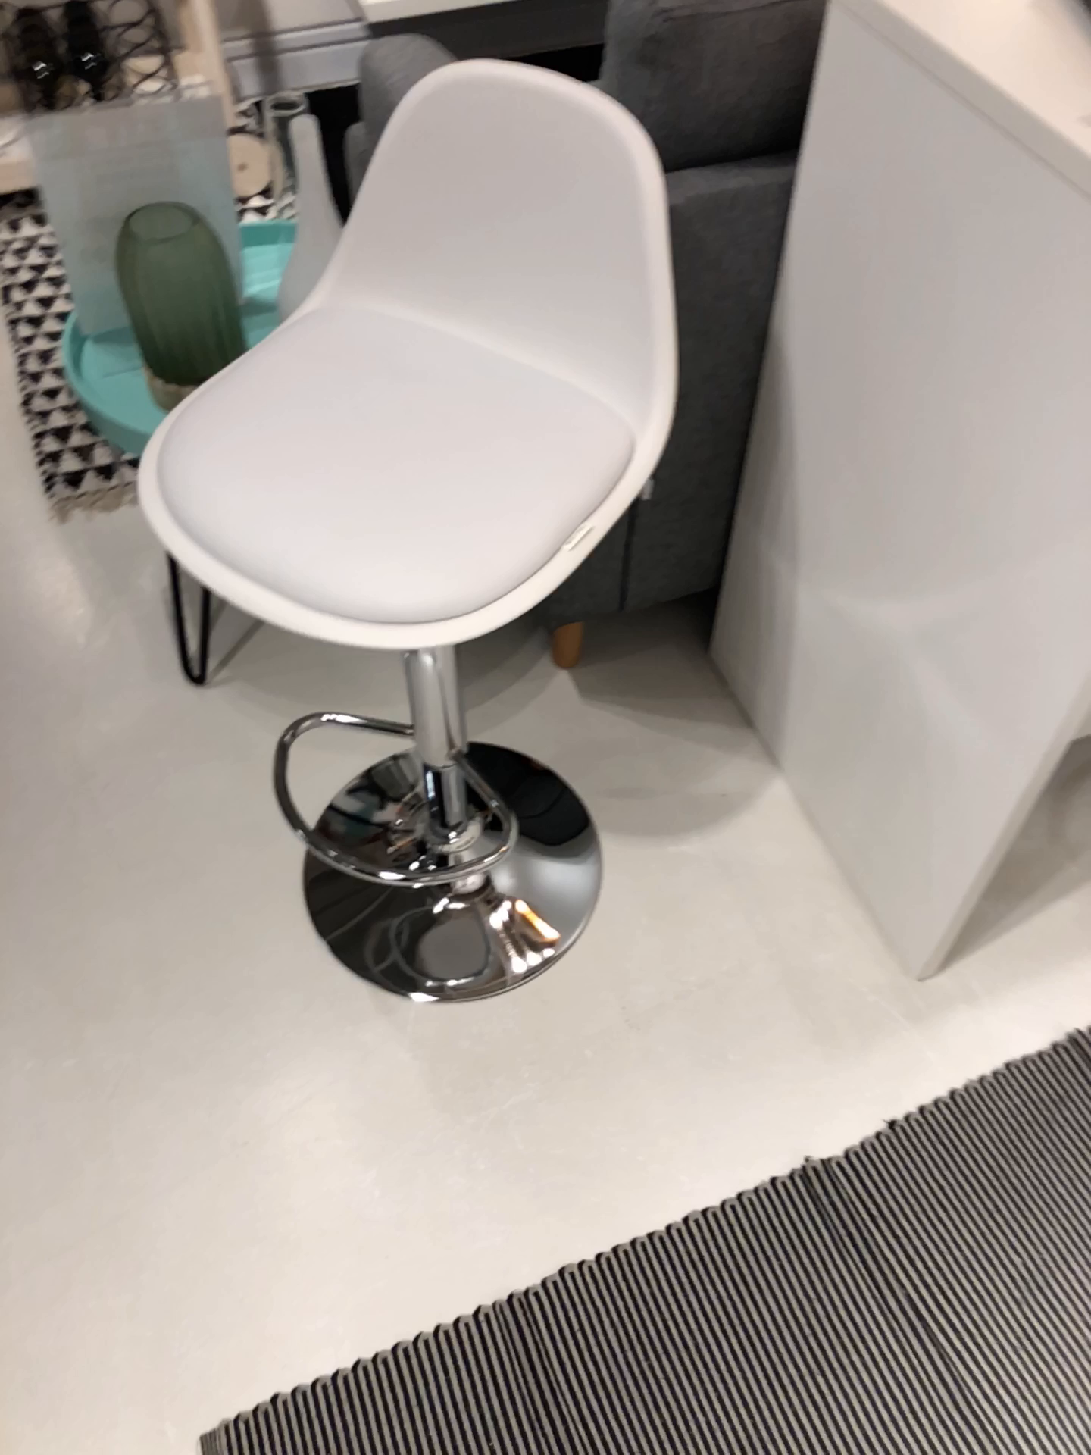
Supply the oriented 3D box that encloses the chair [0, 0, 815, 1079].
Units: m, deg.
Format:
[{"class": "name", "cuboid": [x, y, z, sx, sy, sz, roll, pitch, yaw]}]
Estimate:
[{"class": "chair", "cuboid": [-0.104, -0.111, 1.161, 0.411, 0.884, 0.422, 32, 59, 22]}]
